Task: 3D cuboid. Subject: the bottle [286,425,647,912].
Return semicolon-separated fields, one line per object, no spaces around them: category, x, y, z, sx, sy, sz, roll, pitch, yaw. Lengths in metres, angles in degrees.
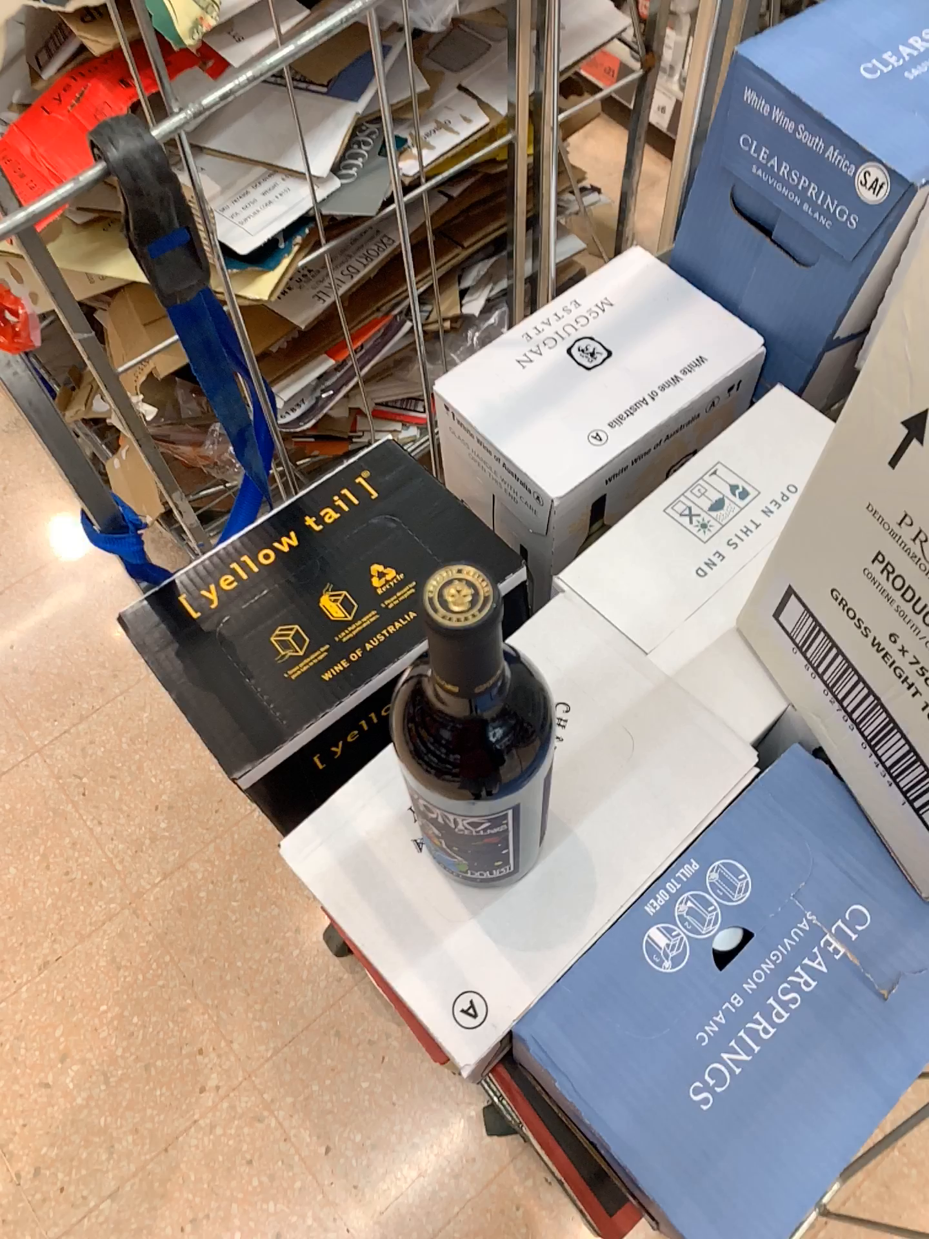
bottle;0.004;0.048;0.440;0.085;0.285;0.085;-1;63;1
